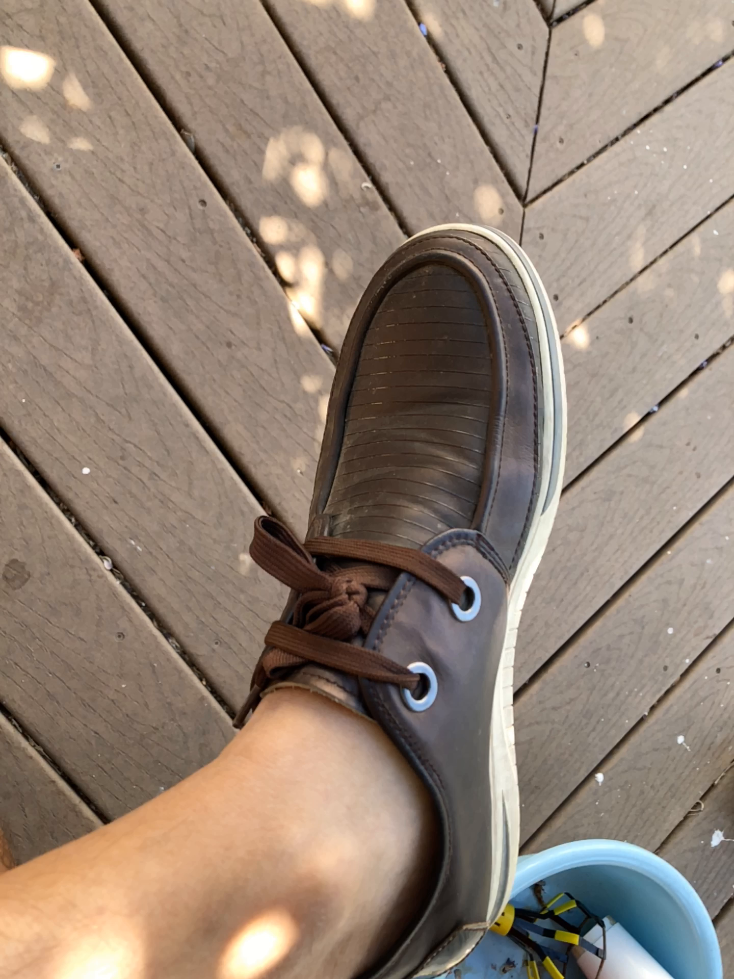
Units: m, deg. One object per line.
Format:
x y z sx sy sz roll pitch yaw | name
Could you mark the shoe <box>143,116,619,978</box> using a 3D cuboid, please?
0.012 0.032 0.288 0.102 0.097 0.274 10 87 -62 | shoe
